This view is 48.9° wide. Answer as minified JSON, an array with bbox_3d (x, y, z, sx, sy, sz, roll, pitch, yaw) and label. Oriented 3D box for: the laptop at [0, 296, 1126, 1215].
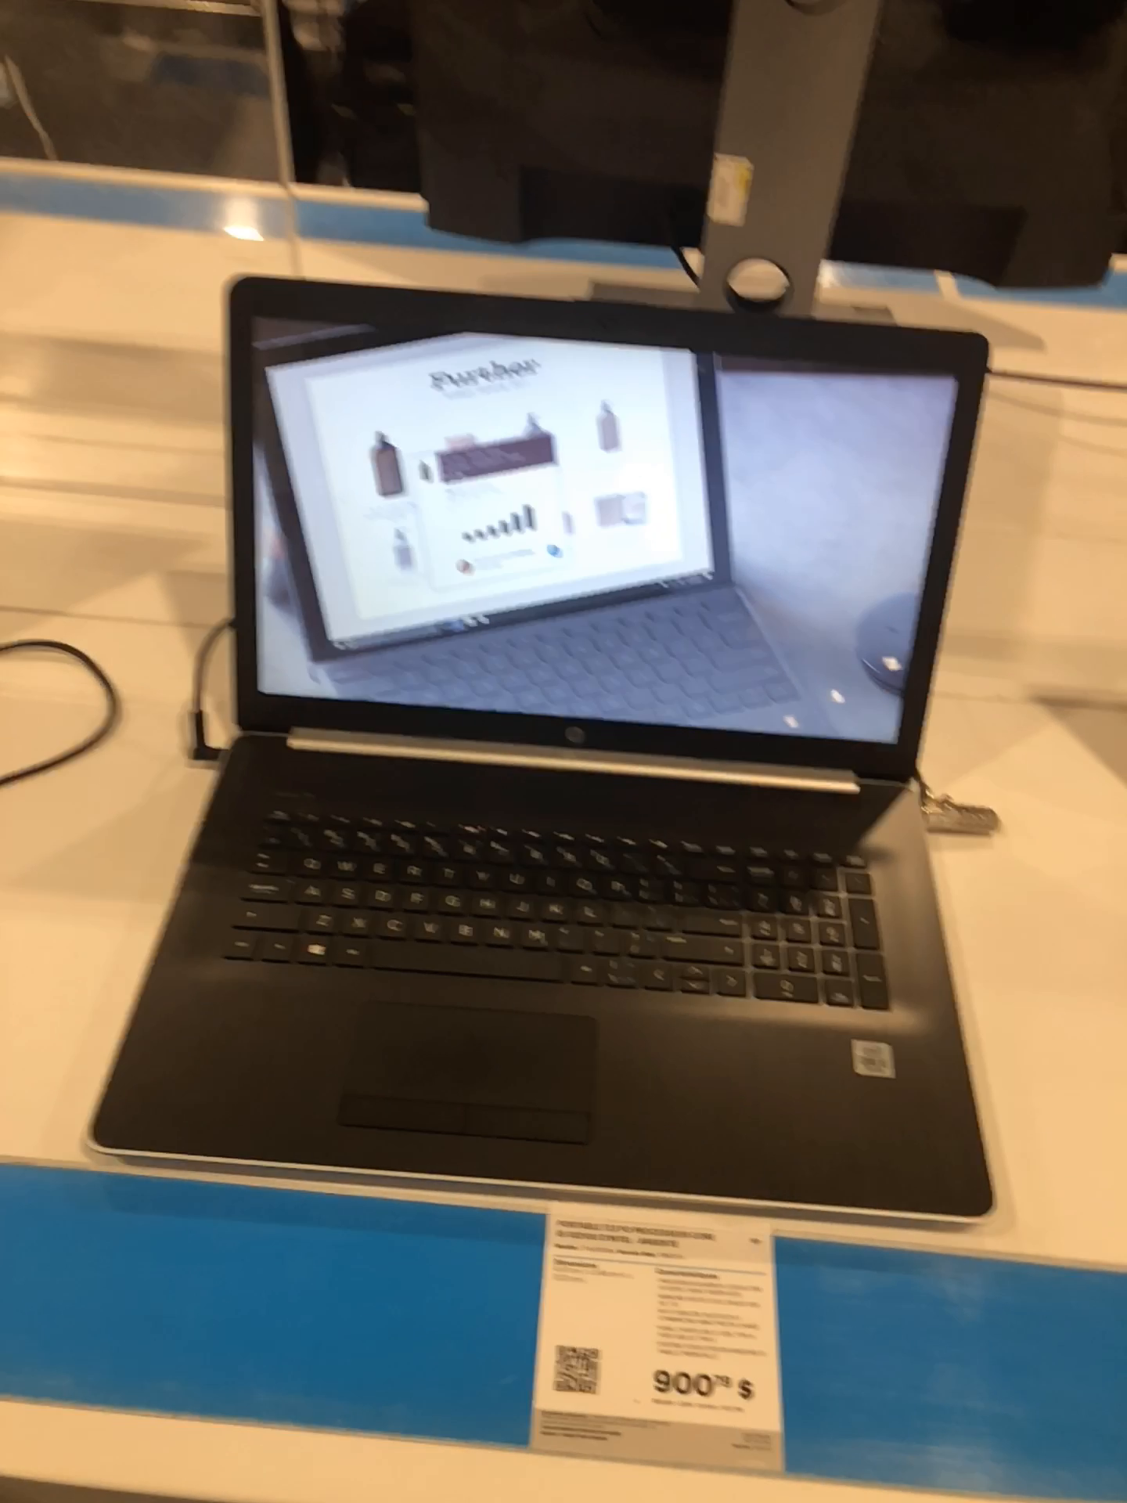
[{"bbox_3d":[0.004,-0.020,0.623,0.410,0.242,0.382,4,43,1],"label":"laptop"}]
